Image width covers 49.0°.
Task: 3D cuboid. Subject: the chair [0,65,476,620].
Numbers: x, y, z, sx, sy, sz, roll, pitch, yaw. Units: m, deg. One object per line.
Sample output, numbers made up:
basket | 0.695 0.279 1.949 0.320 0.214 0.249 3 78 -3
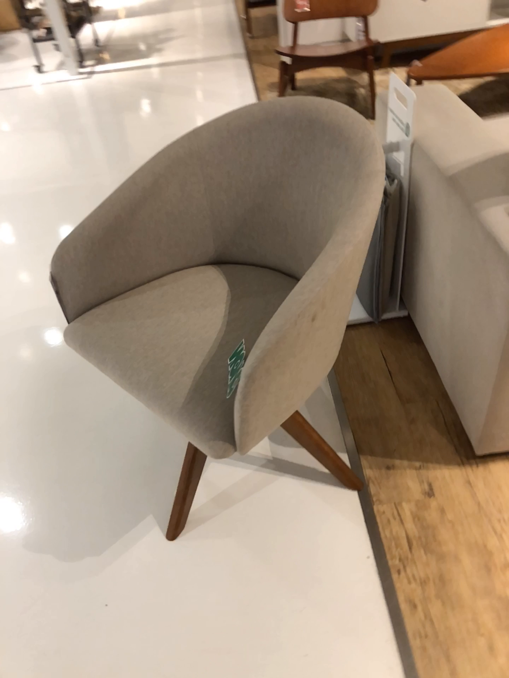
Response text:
chair | -0.061 -0.047 1.263 0.693 0.794 0.713 30 54 35
